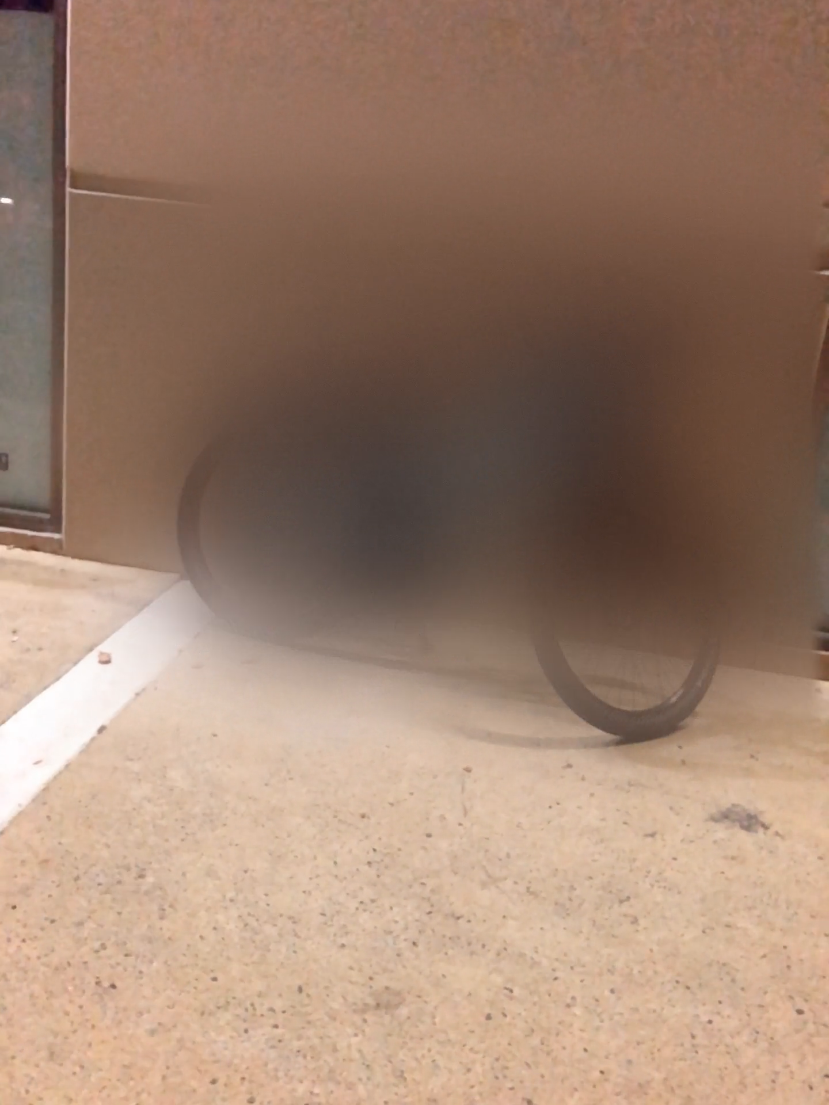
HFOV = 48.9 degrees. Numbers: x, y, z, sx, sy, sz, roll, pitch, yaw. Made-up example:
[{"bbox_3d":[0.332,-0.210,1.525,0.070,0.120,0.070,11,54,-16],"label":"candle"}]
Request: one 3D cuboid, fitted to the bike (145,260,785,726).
[{"bbox_3d":[0.136,-0.224,2.720,1.603,1.063,0.589,9,16,9],"label":"bike"}]
